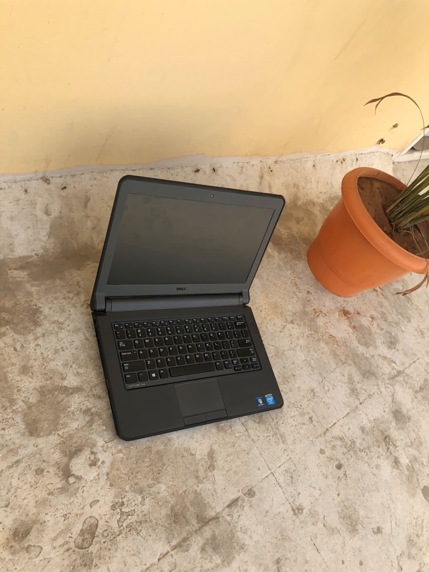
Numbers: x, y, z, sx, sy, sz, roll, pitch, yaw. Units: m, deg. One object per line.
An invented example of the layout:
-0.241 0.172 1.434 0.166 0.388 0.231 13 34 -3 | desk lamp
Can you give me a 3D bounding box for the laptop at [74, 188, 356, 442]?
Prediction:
-0.016 0.036 0.752 0.309 0.208 0.299 -1 57 -34 | laptop
